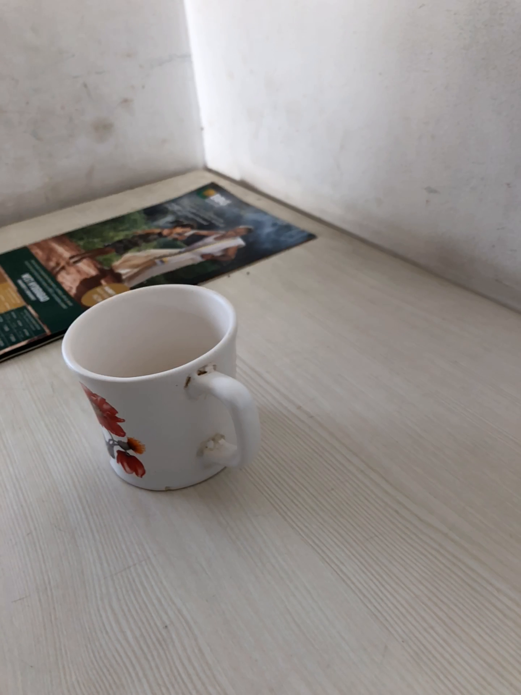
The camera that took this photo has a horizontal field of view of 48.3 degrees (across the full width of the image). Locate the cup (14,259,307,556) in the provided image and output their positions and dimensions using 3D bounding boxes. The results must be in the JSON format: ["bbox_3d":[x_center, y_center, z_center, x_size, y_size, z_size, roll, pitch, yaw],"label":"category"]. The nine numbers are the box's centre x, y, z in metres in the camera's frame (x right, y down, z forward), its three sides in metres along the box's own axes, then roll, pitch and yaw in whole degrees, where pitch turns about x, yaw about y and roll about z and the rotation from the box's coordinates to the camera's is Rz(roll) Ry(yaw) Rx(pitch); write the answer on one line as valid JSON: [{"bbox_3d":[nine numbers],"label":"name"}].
[{"bbox_3d":[-0.039,0.018,0.245,0.090,0.070,0.070,23,43,36],"label":"cup"}]
